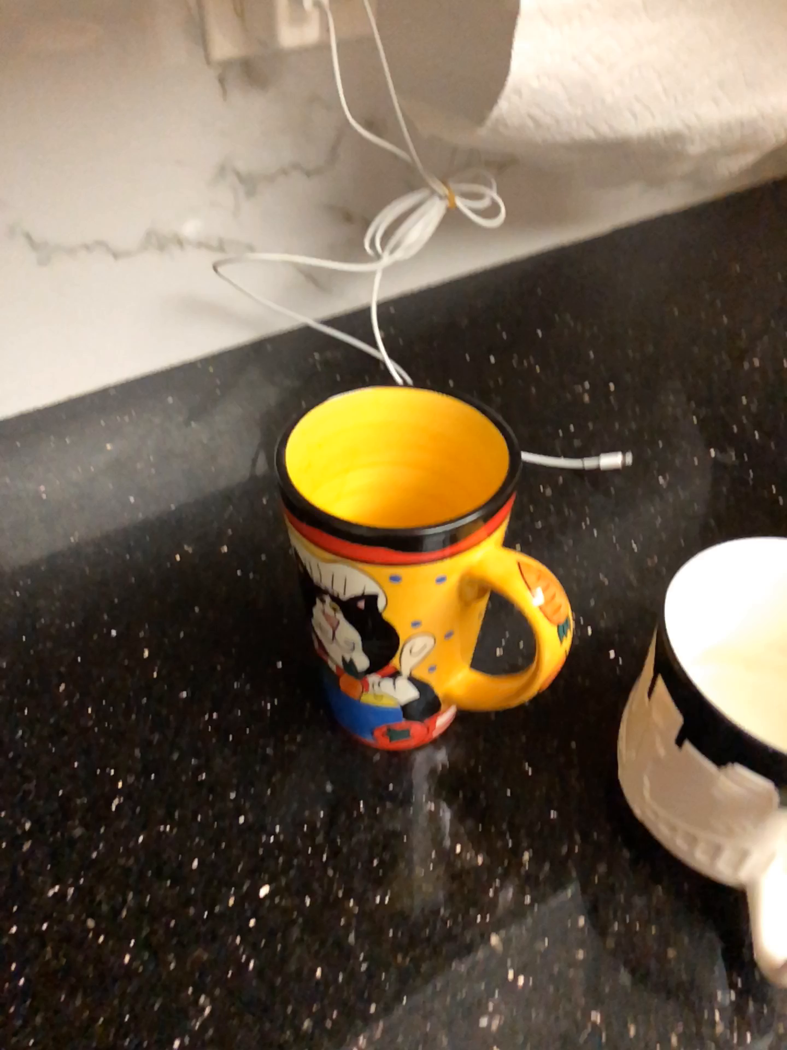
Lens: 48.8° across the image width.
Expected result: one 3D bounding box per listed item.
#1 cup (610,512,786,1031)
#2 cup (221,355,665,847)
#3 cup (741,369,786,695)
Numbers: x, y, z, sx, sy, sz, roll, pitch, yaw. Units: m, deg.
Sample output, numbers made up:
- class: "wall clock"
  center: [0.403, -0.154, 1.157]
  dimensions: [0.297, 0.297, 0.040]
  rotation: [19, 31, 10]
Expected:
- class: "cup"
  center: [0.150, 0.086, 0.331]
  dimensions: [0.110, 0.099, 0.141]
  rotation: [9, 43, 9]
- class: "cup"
  center: [0.017, 0.027, 0.353]
  dimensions: [0.130, 0.129, 0.090]
  rotation: [27, 49, 26]
- class: "cup"
  center: [0.264, -0.002, 0.432]
  dimensions: [0.140, 0.080, 0.100]
  rotation: [18, 45, 19]
